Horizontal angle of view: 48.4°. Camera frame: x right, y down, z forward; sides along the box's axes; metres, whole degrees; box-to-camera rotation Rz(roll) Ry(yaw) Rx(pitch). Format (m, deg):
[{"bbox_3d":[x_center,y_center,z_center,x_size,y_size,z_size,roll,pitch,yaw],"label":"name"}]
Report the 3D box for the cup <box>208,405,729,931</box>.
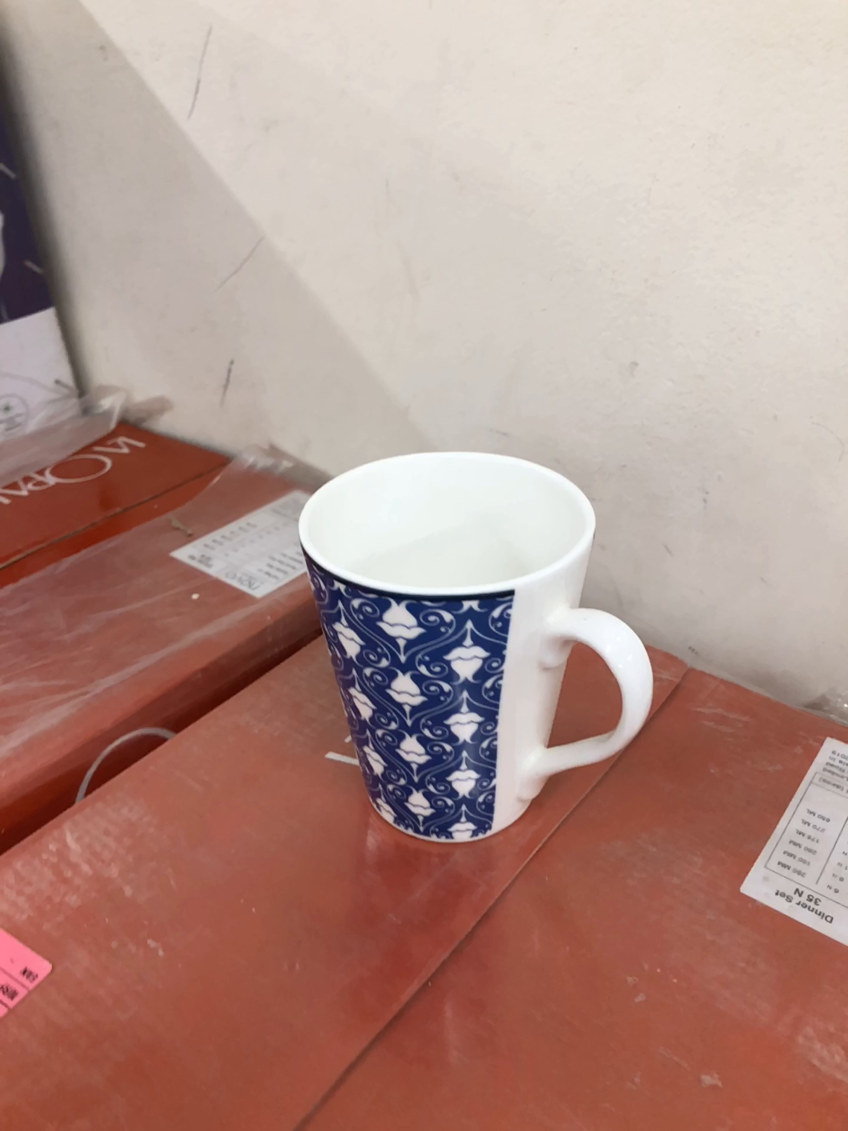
[{"bbox_3d":[0.014,0.023,0.286,0.120,0.099,0.081,16,36,26],"label":"cup"}]
